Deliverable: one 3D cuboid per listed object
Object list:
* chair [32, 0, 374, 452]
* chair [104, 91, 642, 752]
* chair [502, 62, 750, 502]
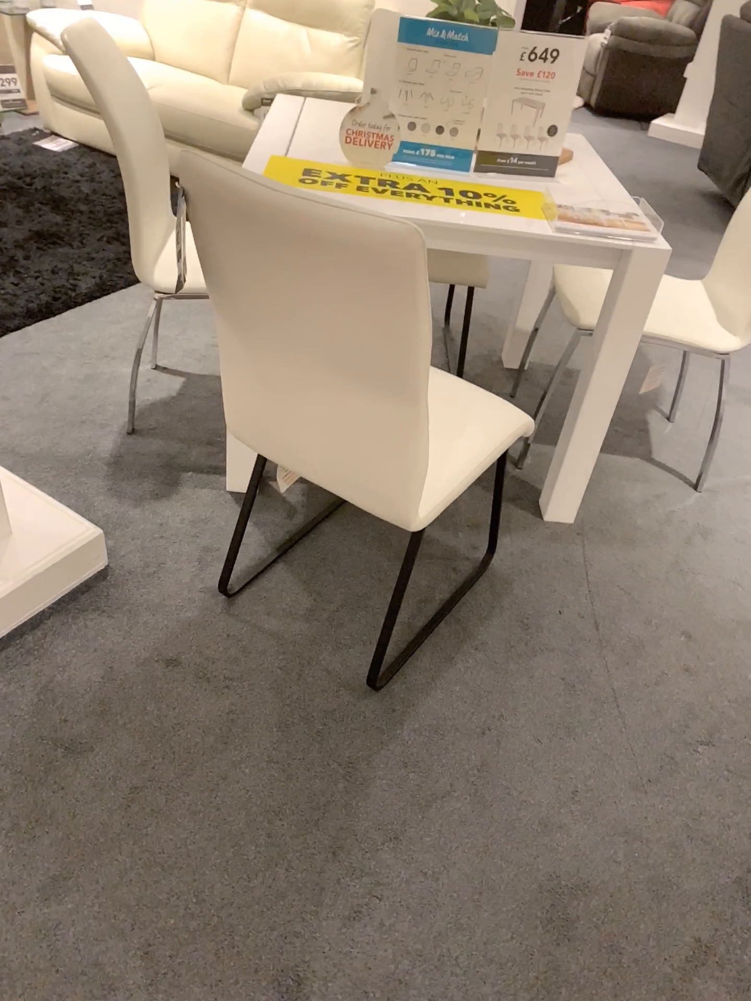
[{"bbox_3d":[-0.394,-0.662,1.939,0.640,0.901,0.525,3,39,-8],"label":"chair"},{"bbox_3d":[-0.014,-0.165,1.393,0.541,0.881,0.635,27,41,21],"label":"chair"},{"bbox_3d":[0.744,-0.549,1.987,0.600,0.881,0.556,8,38,-2],"label":"chair"}]
